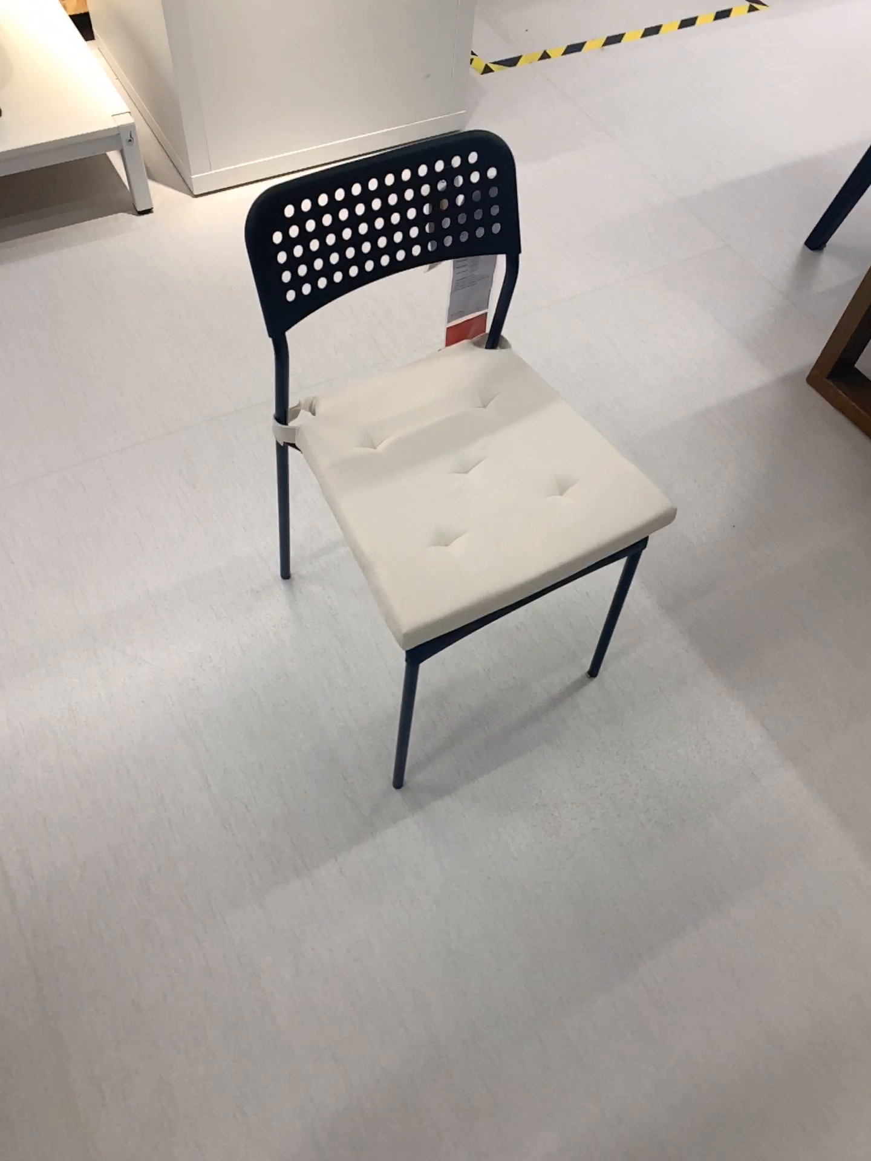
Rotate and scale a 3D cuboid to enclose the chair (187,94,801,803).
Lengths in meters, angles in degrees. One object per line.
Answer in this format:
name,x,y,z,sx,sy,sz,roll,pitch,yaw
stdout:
chair,0.023,-0.132,1.239,0.450,0.758,0.491,-25,62,-19
